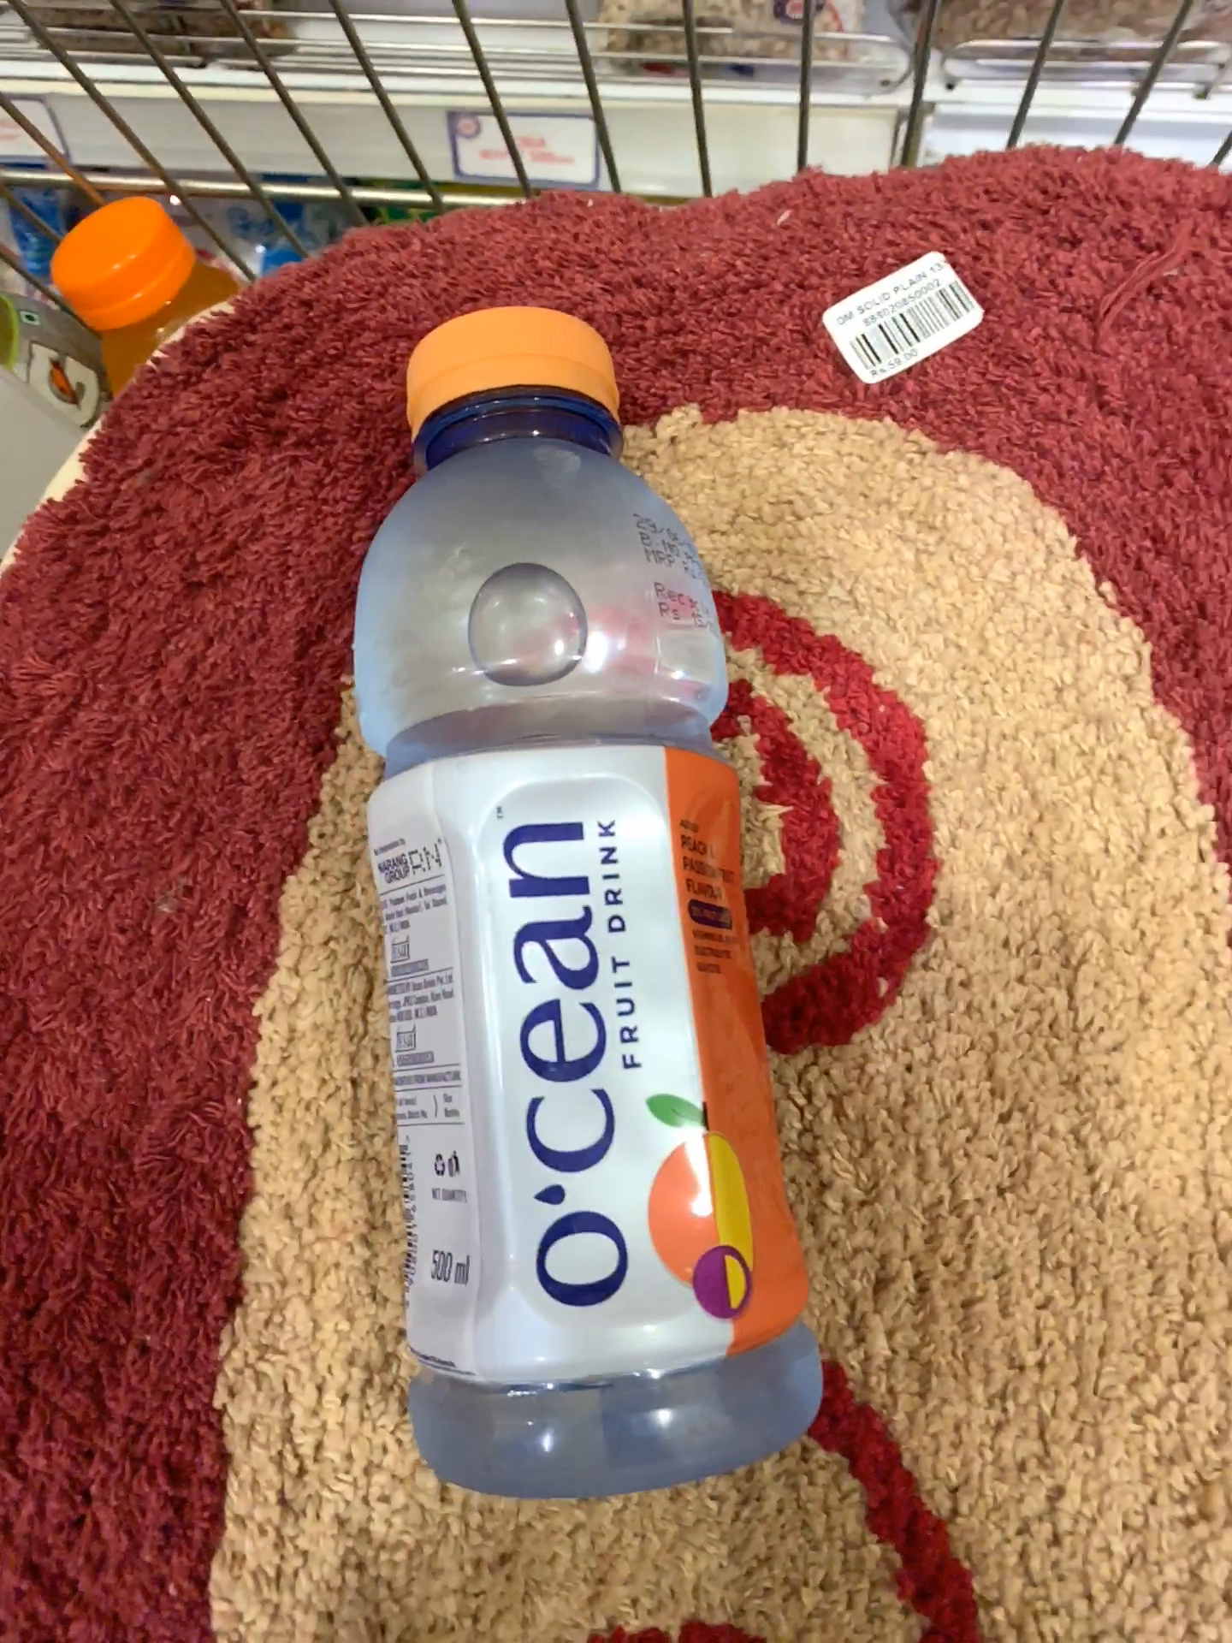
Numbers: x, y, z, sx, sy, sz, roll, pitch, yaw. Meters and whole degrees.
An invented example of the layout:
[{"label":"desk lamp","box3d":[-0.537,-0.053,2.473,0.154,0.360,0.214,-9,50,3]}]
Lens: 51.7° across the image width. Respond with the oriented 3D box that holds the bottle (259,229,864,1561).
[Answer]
[{"label":"bottle","box3d":[-0.011,0.007,0.207,0.070,0.060,0.180,-4,84,-4]}]
